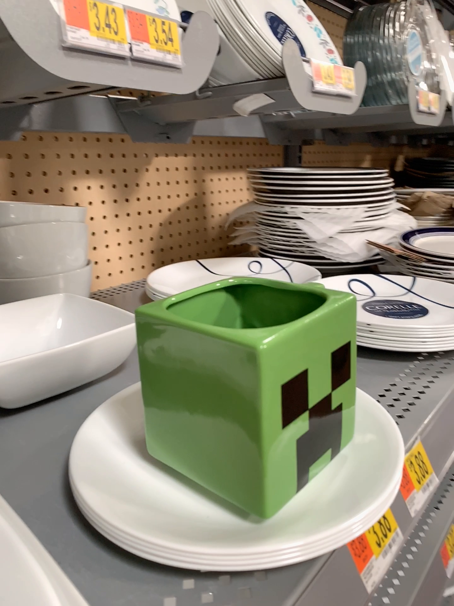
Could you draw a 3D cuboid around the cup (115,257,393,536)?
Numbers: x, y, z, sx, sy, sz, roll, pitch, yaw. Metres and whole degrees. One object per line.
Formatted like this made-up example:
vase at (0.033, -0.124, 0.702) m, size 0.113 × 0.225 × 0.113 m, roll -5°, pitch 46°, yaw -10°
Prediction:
cup at (0.023, 0.039, 0.301) m, size 0.106 × 0.104 × 0.142 m, roll 13°, pitch 22°, yaw 40°
